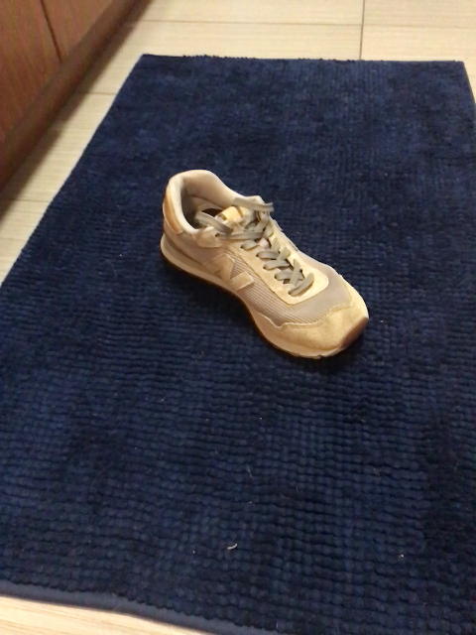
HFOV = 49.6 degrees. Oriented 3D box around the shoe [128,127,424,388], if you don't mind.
[{"bbox_3d":[0.027,-0.078,0.544,0.131,0.099,0.281,-36,57,-23],"label":"shoe"}]
